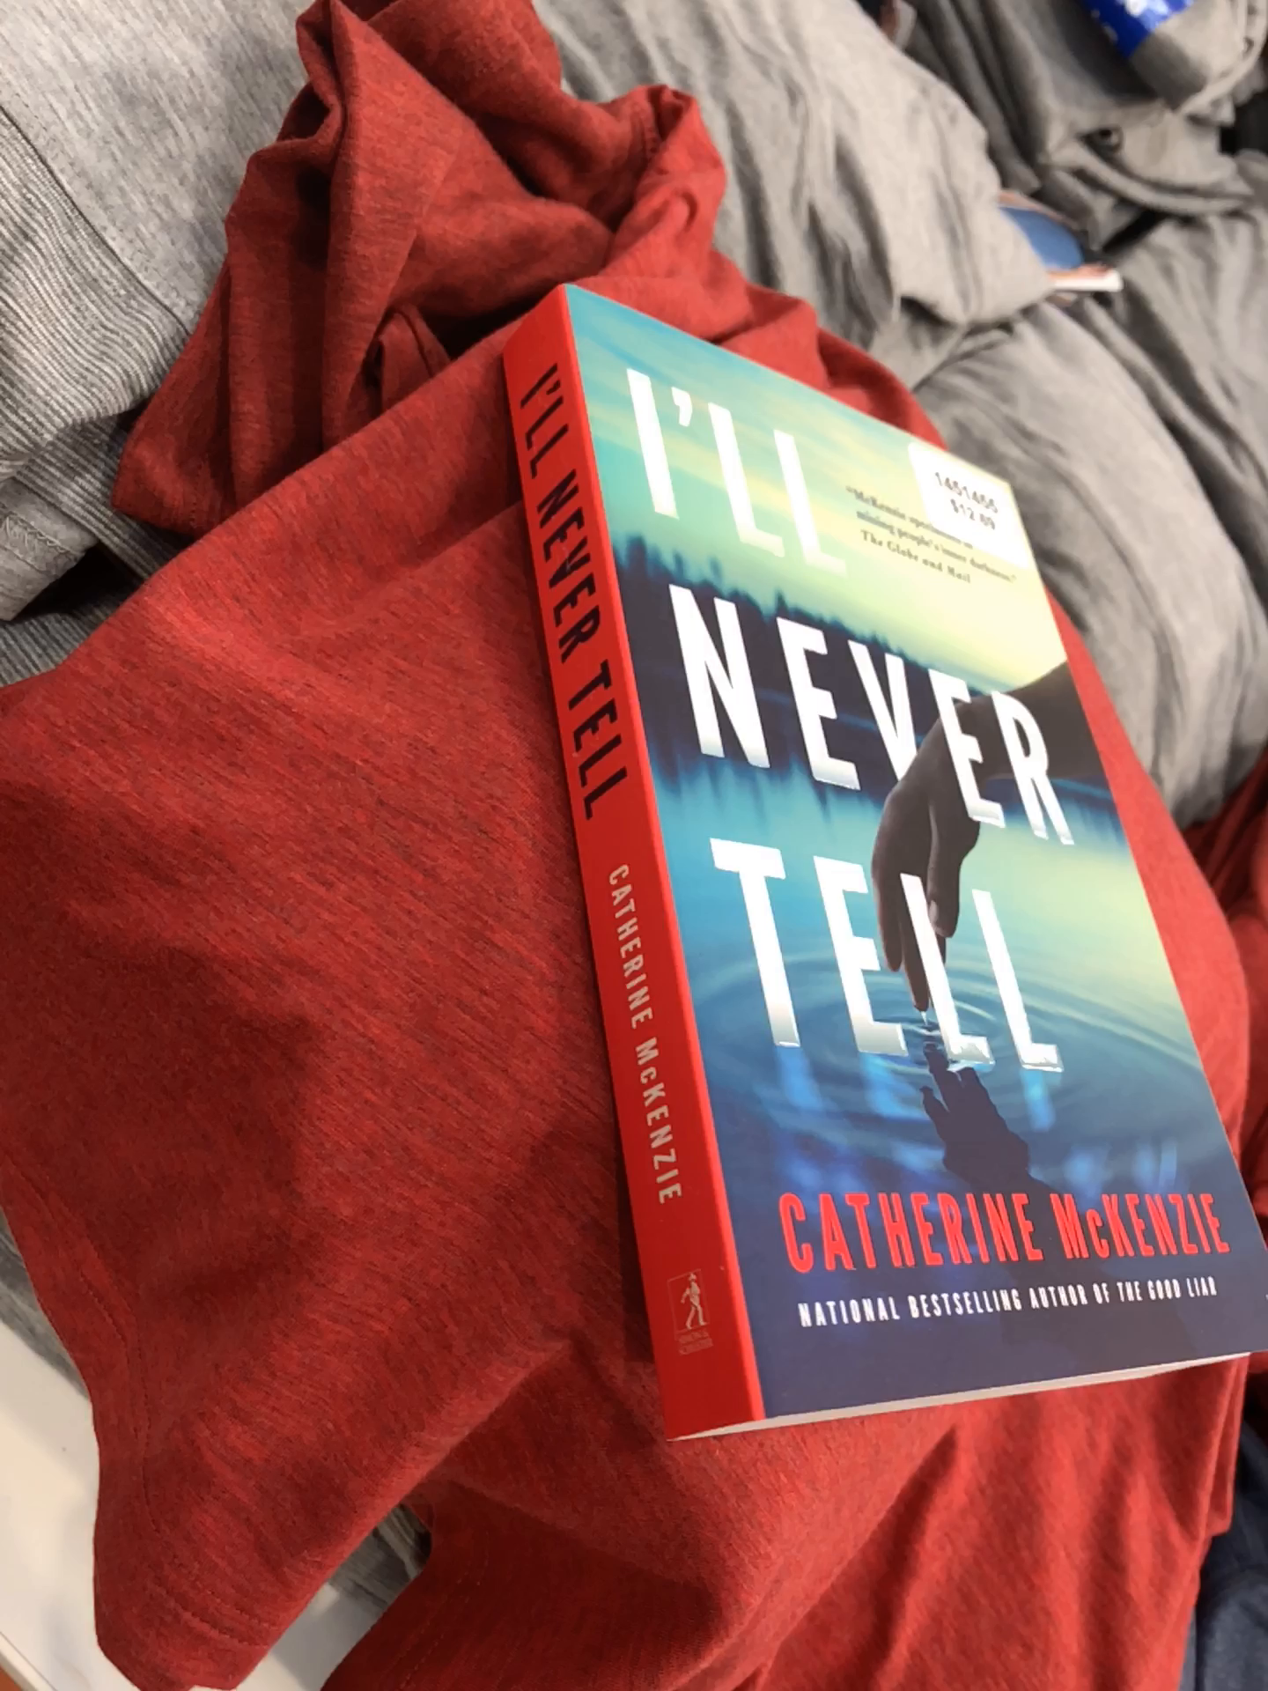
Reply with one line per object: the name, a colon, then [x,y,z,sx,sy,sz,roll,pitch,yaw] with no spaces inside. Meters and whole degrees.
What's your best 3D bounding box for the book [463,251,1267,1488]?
book: [0.048,0.000,0.274,0.144,0.032,0.208,10,59,-37]
